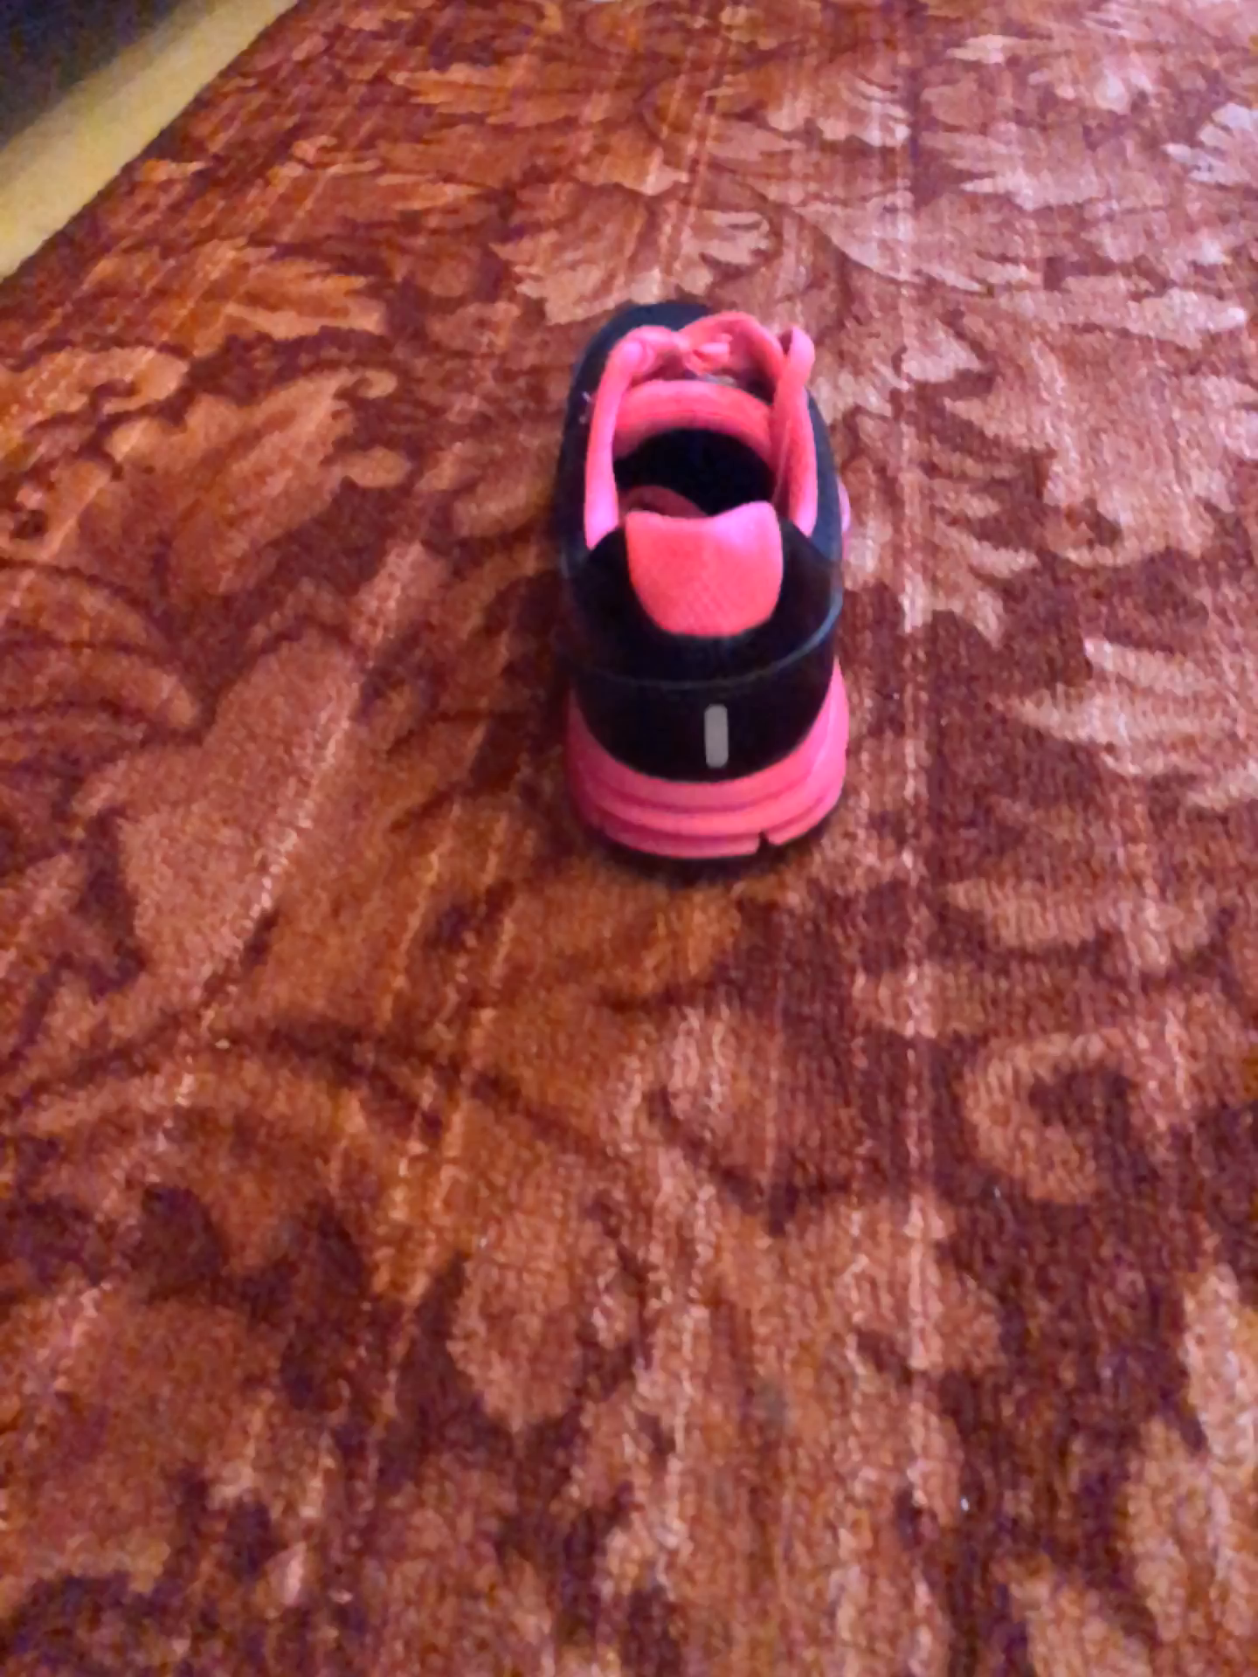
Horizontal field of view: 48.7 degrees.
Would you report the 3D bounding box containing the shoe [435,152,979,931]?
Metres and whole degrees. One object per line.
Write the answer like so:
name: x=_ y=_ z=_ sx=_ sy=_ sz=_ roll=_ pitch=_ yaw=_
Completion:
shoe: x=0.022 y=-0.101 z=0.405 sx=0.110 sy=0.100 sz=0.251 roll=0 pitch=45 yaw=3
